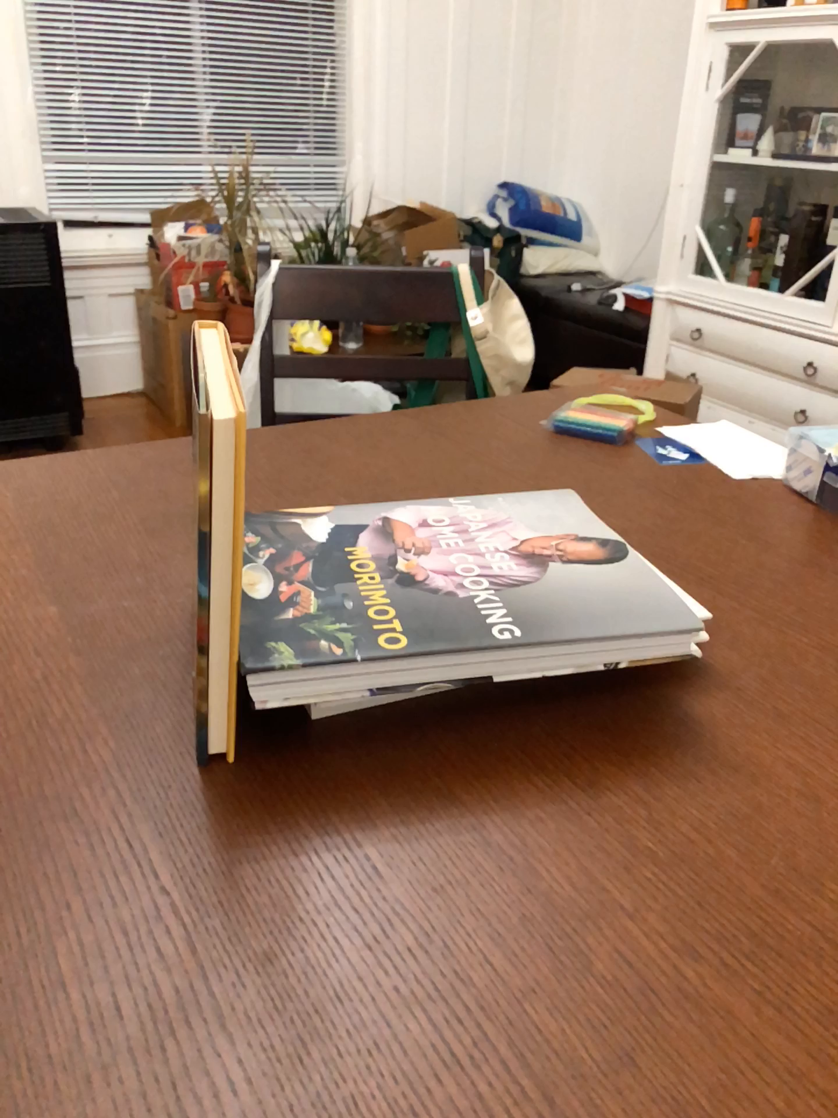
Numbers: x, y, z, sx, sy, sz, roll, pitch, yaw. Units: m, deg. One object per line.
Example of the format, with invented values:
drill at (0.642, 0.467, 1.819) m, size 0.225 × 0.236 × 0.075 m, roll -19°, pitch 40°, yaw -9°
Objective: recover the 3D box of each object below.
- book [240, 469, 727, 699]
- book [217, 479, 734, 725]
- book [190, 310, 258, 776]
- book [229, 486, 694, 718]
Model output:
book at (0.032, 0.001, 0.660) m, size 0.280 × 0.030 × 0.221 m, roll -8°, pitch 27°, yaw -18°
book at (0.019, 0.012, 0.603) m, size 0.280 × 0.030 × 0.221 m, roll -6°, pitch 27°, yaw -14°
book at (-0.119, -0.022, 0.557) m, size 0.030 × 0.209 × 0.211 m, roll -2°, pitch 27°, yaw -13°
book at (0.021, 0.016, 0.693) m, size 0.280 × 0.030 × 0.221 m, roll -10°, pitch 28°, yaw -20°
